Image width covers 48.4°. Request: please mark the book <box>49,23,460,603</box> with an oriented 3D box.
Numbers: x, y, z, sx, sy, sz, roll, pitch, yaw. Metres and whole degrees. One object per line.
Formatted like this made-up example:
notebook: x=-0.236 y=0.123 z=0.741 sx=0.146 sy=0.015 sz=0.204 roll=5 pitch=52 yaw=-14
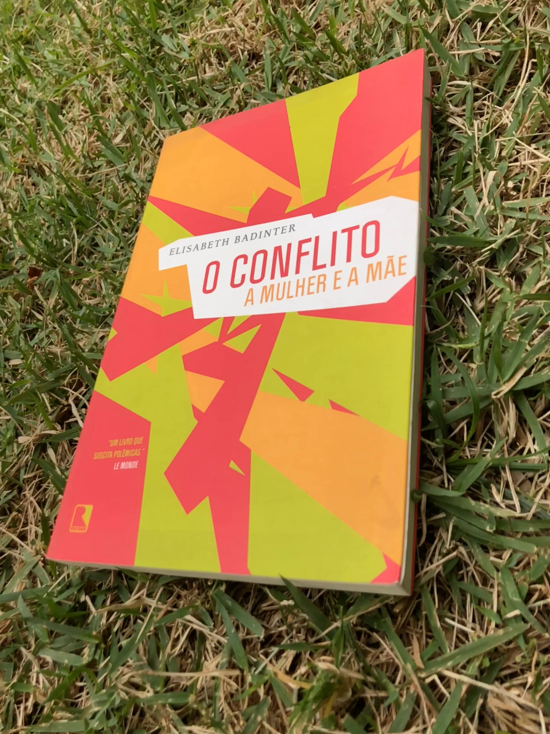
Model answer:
book: x=-0.002 y=-0.027 z=0.225 sx=0.130 sy=0.020 sz=0.201 roll=-6 pitch=61 yaw=30
